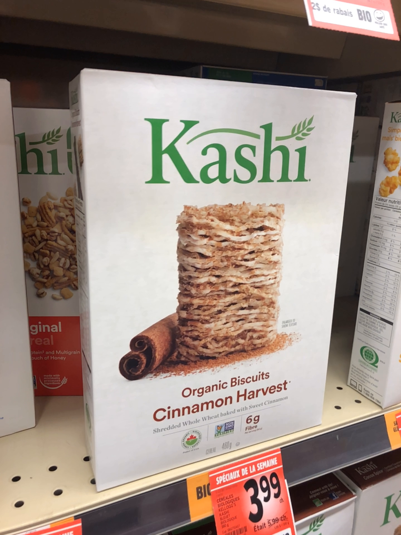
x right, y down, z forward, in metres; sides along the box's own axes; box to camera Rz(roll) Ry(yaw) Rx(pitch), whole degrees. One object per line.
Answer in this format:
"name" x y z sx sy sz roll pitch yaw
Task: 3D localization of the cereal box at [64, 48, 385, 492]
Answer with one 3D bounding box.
"cereal box" 0.015 0.001 0.328 0.200 0.269 0.070 -6 18 -24
